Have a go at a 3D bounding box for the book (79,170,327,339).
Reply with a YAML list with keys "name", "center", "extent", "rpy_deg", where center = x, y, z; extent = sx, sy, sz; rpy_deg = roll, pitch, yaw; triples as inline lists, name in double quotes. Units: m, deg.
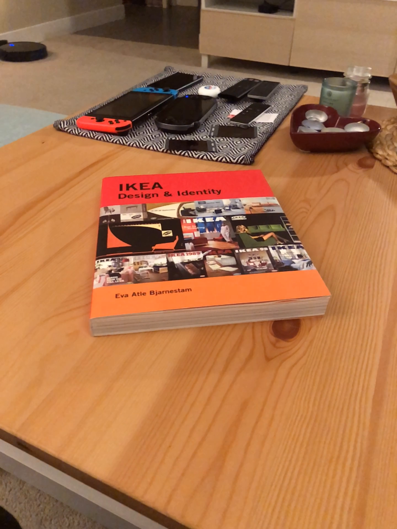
- name: "book"
  center: [-0.010, -0.031, 0.485]
  extent: [0.216, 0.030, 0.256]
  rpy_deg: [-4, 38, -7]
